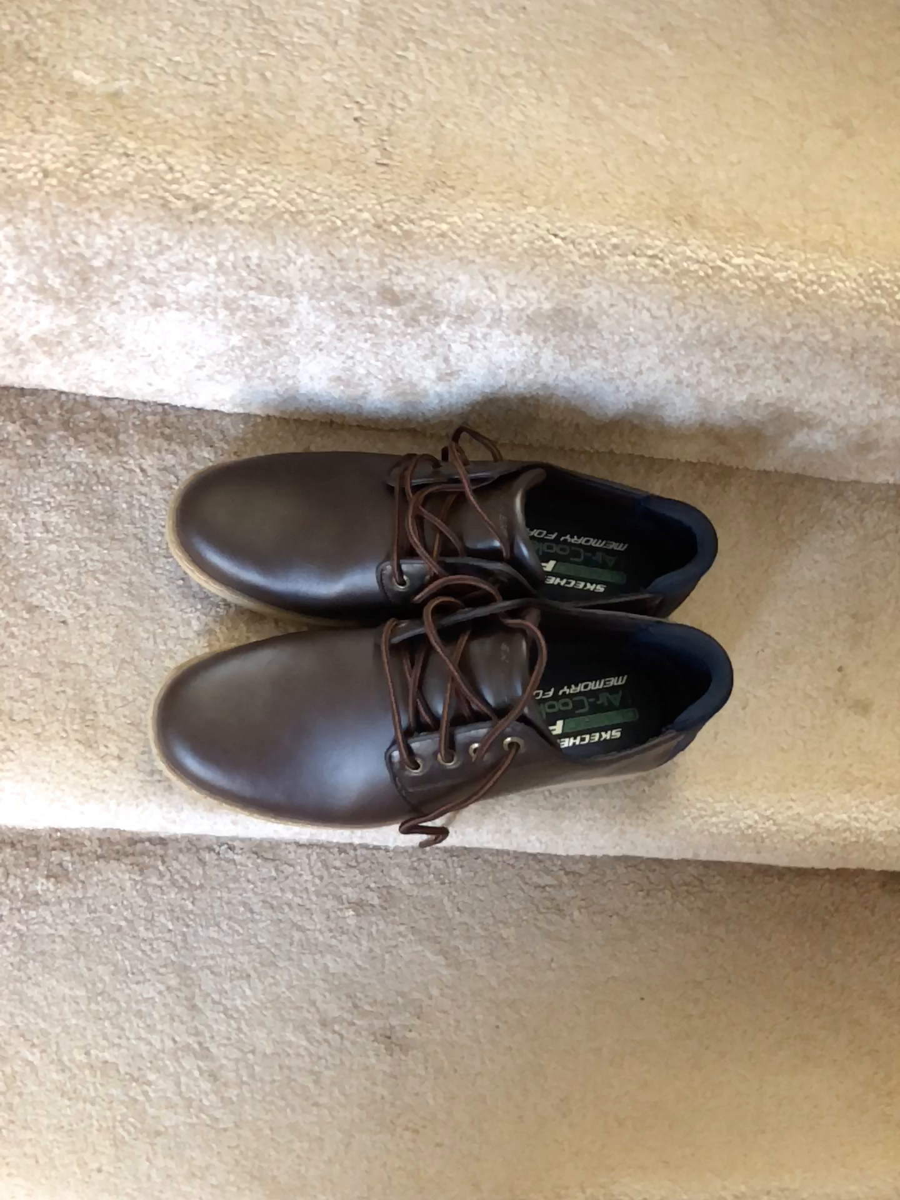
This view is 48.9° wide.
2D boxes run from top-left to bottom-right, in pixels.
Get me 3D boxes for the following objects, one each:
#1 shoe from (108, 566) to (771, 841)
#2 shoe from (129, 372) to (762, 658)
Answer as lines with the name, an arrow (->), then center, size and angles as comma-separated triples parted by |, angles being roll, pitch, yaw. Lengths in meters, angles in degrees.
shoe -> -0.007, 0.052, 0.502 | 0.300, 0.090, 0.110 | -1, 70, -10
shoe -> -0.003, -0.038, 0.524 | 0.300, 0.090, 0.110 | 2, 70, -9
